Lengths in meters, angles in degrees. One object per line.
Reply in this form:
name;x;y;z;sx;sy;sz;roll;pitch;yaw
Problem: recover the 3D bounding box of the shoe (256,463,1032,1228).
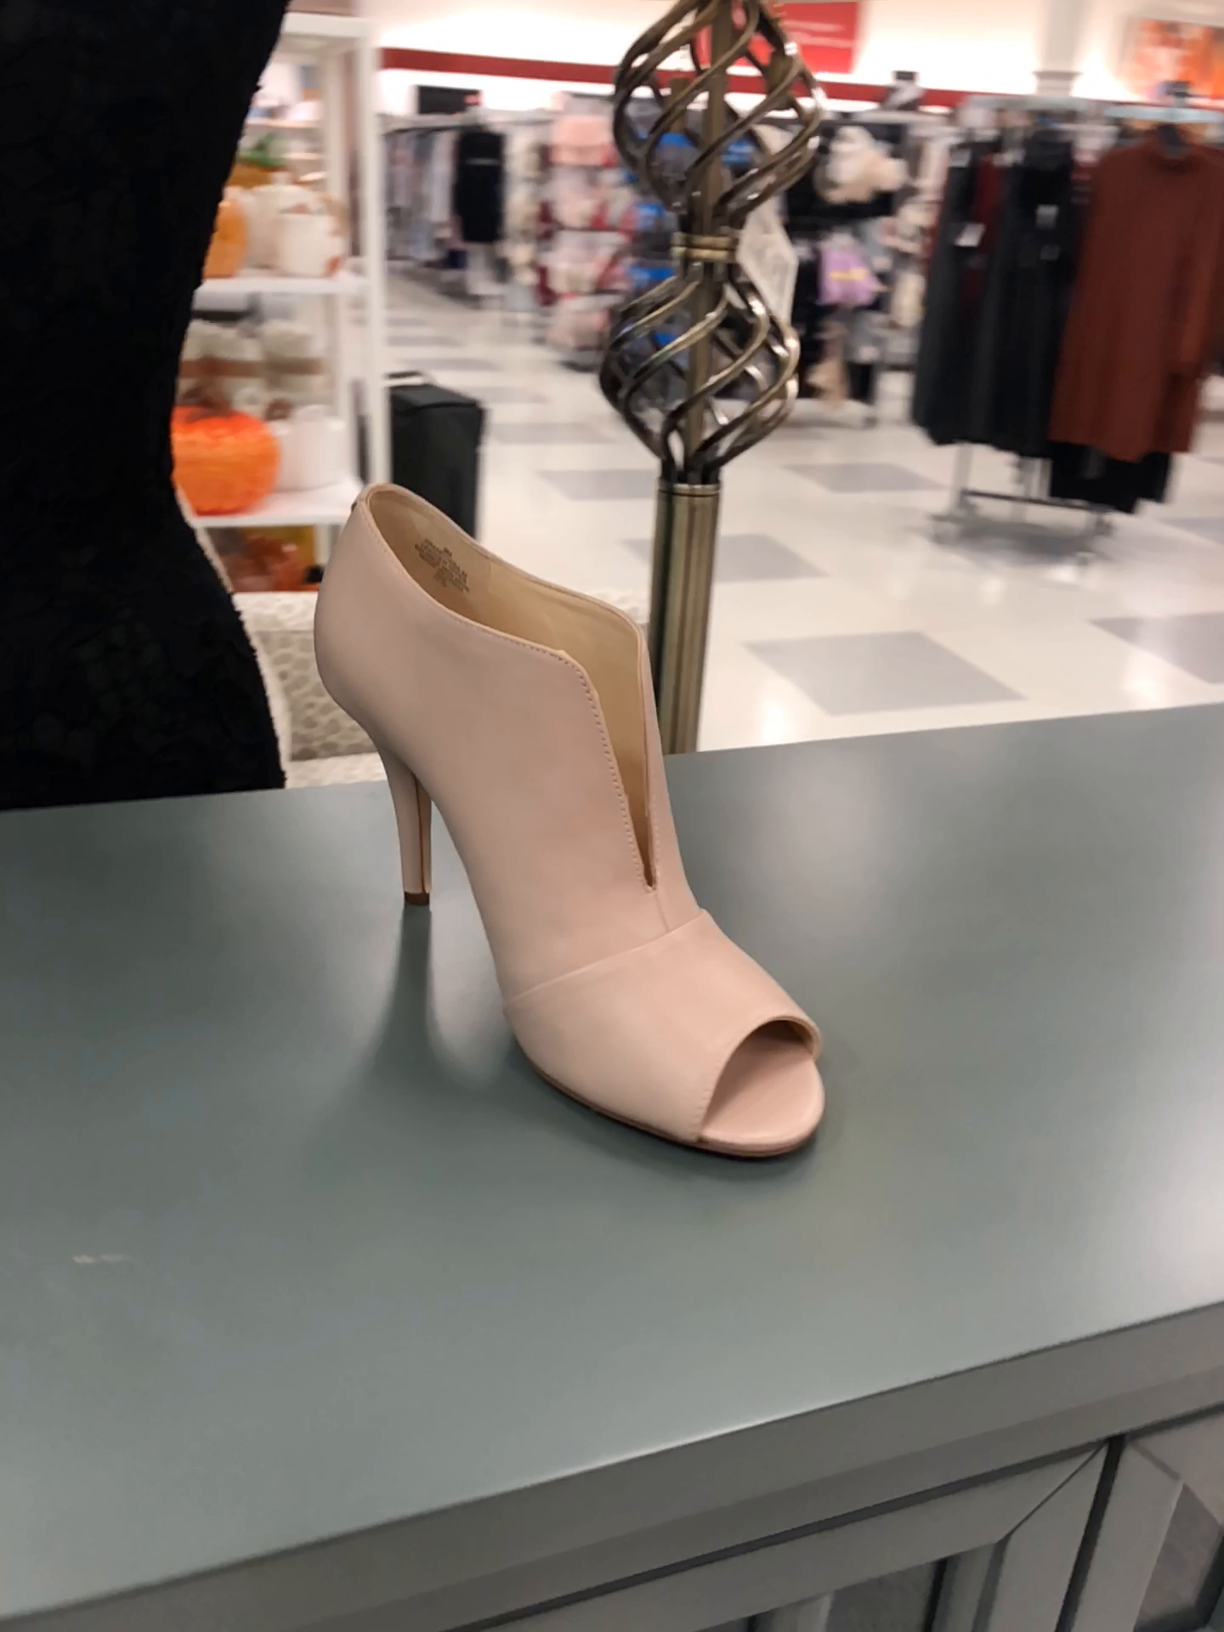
shoe;-0.006;-0.011;0.427;0.098;0.151;0.225;-20;34;-40
